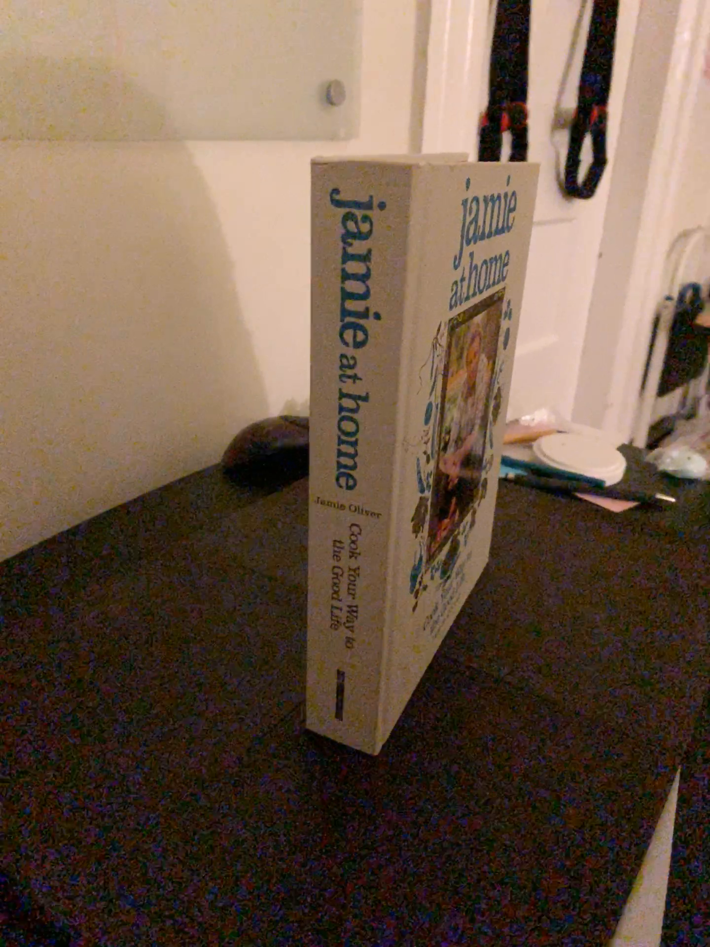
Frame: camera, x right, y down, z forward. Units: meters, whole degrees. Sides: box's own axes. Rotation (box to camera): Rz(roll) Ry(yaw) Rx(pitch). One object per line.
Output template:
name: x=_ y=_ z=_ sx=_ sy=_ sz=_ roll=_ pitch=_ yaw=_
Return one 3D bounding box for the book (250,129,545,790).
book: x=0.029 y=-0.023 z=0.373 sx=0.050 sy=0.269 sz=0.211 roll=13 pitch=27 yaw=22
